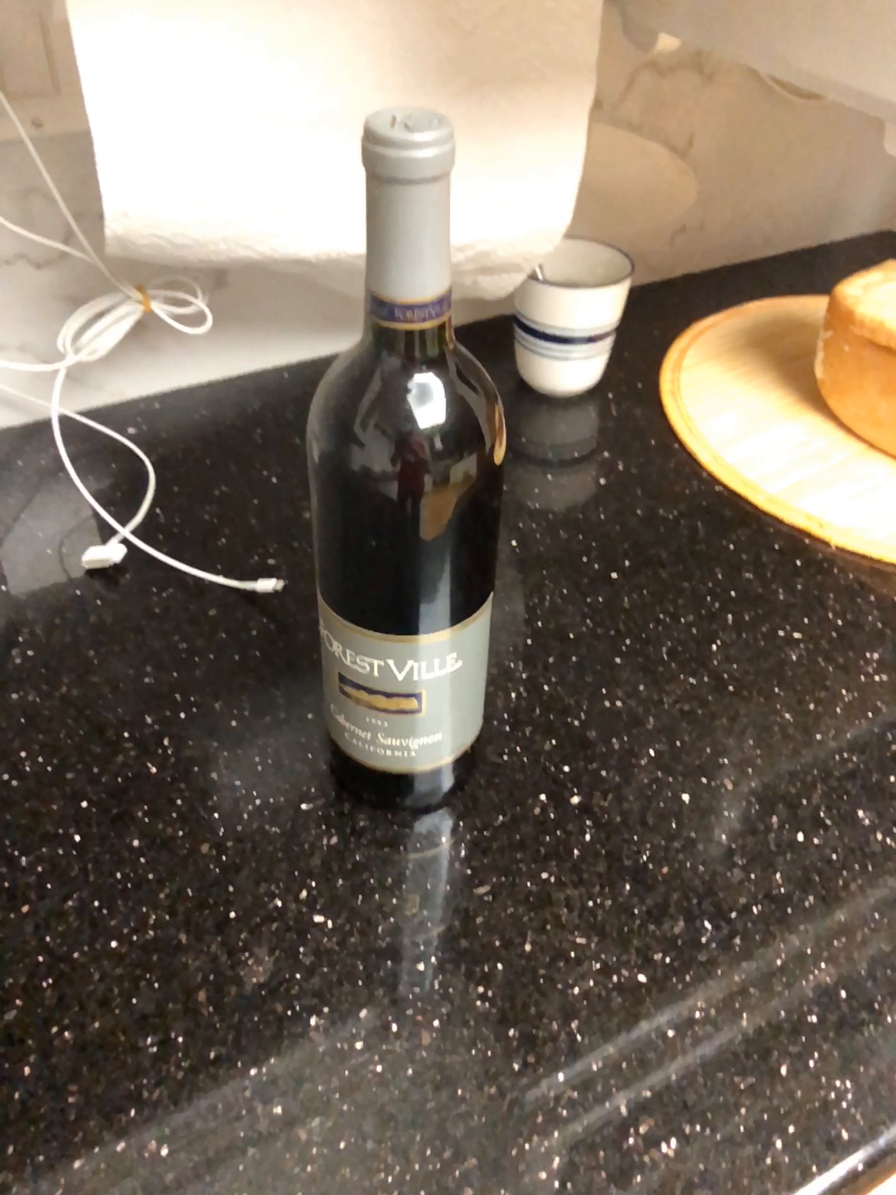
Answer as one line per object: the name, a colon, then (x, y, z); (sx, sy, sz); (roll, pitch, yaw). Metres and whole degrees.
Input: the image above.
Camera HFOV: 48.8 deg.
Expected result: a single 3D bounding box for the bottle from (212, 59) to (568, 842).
bottle: (-0.019, -0.036, 0.398); (0.080, 0.298, 0.090); (14, 43, 12)
